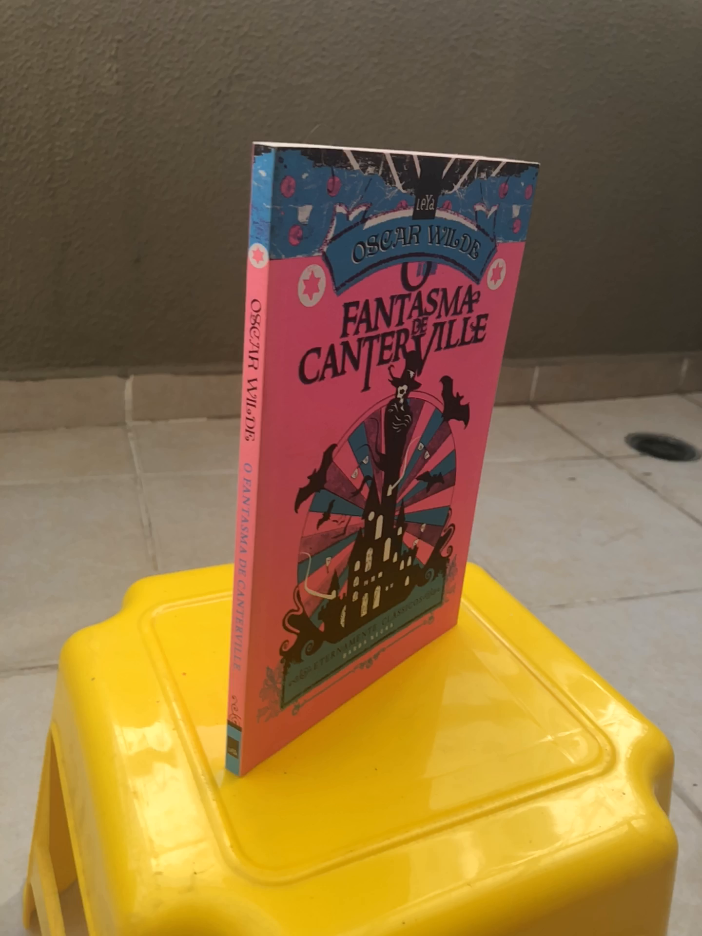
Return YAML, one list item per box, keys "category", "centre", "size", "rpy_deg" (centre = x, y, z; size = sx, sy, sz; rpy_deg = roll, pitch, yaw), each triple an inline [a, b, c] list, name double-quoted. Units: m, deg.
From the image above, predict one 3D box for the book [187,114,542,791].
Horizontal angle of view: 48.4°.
- category: "book"
  centre: [0.006, -0.008, 0.293]
  size: [0.020, 0.219, 0.151]
  rpy_deg: [23, 29, 35]
